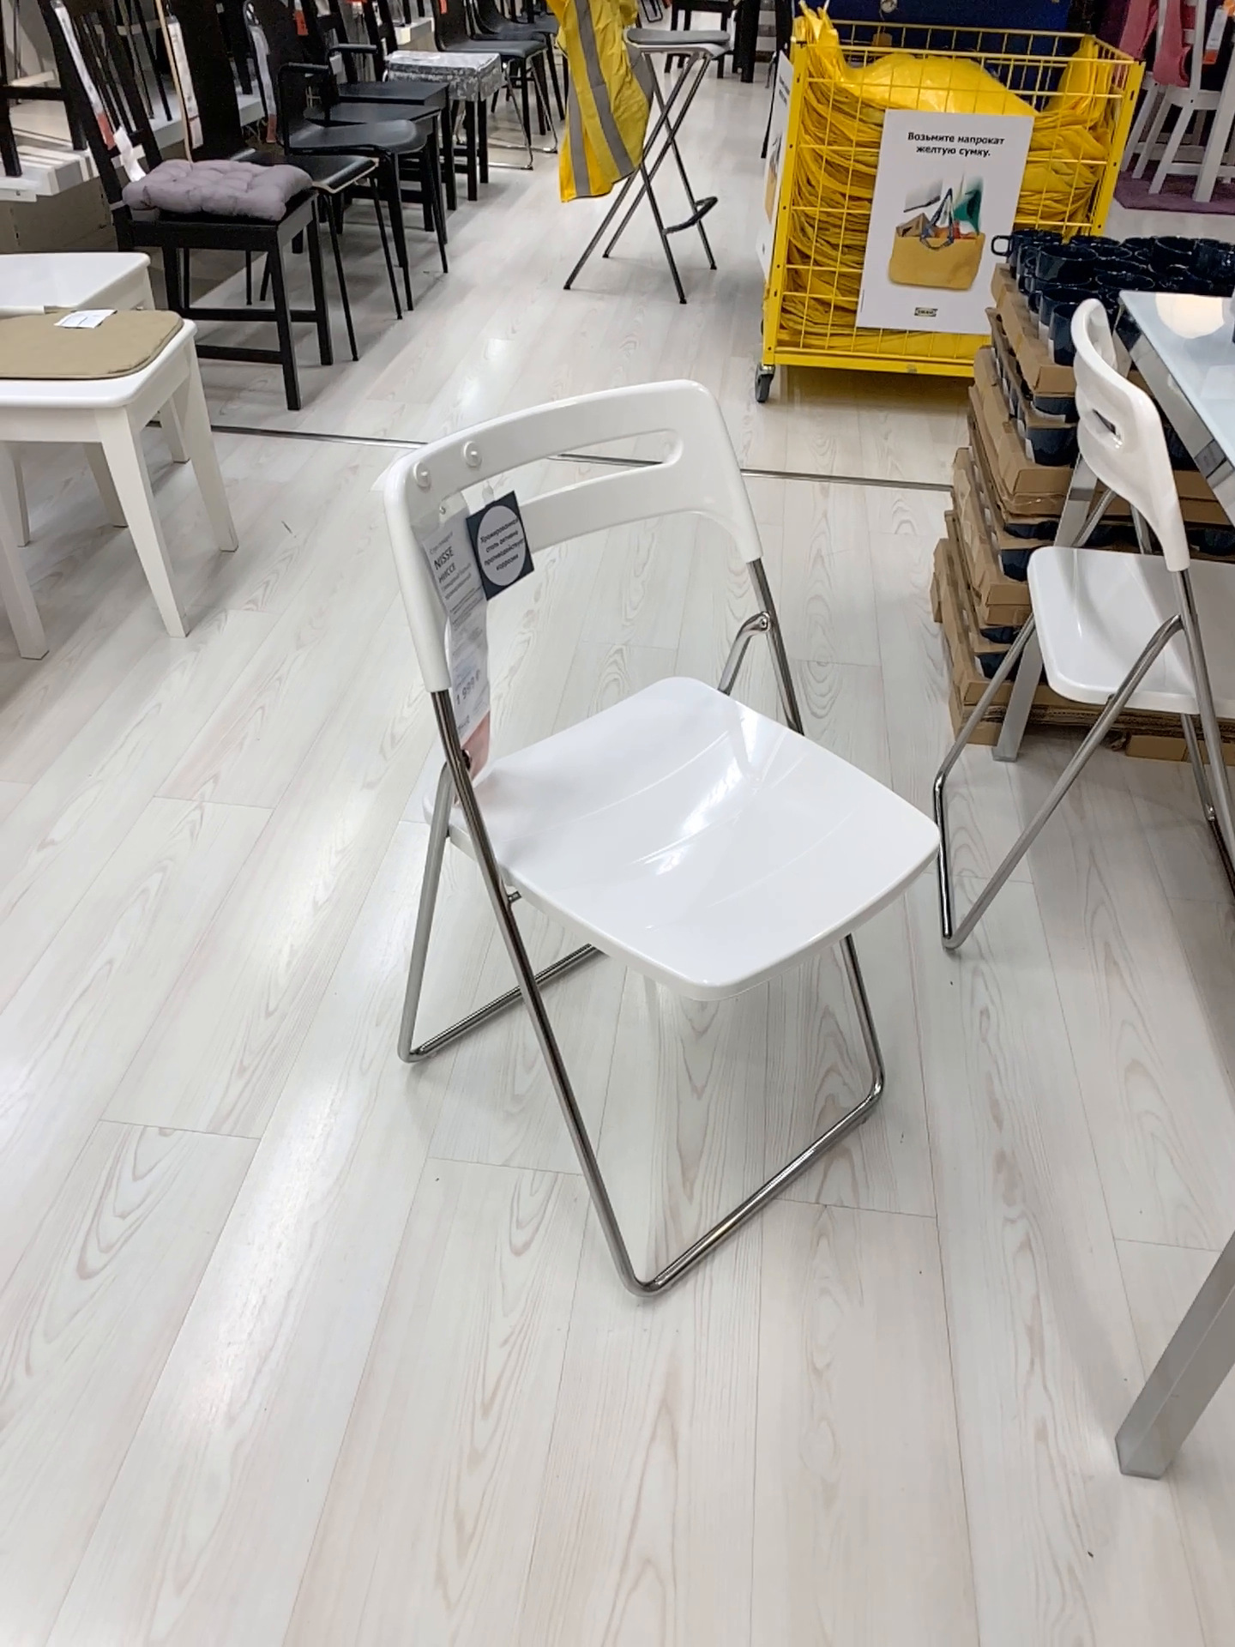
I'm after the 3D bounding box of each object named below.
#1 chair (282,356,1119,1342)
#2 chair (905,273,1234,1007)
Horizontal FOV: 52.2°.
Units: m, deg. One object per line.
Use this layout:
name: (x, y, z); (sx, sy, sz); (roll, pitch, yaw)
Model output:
chair: (0.058, -0.004, 1.287); (0.512, 0.716, 0.501); (-28, 46, -35)
chair: (0.707, -0.242, 1.626); (0.510, 0.726, 0.533); (6, 37, 4)
